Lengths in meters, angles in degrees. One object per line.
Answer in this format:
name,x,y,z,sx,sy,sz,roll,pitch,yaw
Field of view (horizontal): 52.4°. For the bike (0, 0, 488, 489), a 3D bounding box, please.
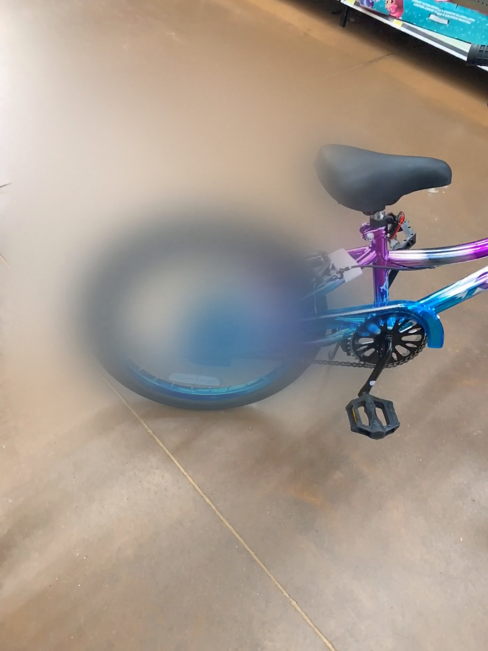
bike,0.182,-0.192,0.886,0.933,0.931,0.580,6,50,-6
